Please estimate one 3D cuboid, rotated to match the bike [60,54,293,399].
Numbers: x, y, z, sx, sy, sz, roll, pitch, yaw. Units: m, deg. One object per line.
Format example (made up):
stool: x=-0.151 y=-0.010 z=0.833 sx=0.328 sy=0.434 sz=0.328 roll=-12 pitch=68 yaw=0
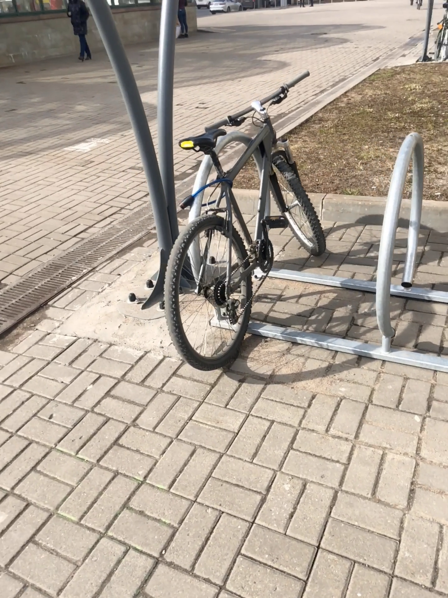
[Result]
bike: x=-0.055 y=-0.535 z=2.396 sx=0.561 sy=0.980 sz=1.620 roll=6 pitch=34 yaw=16
